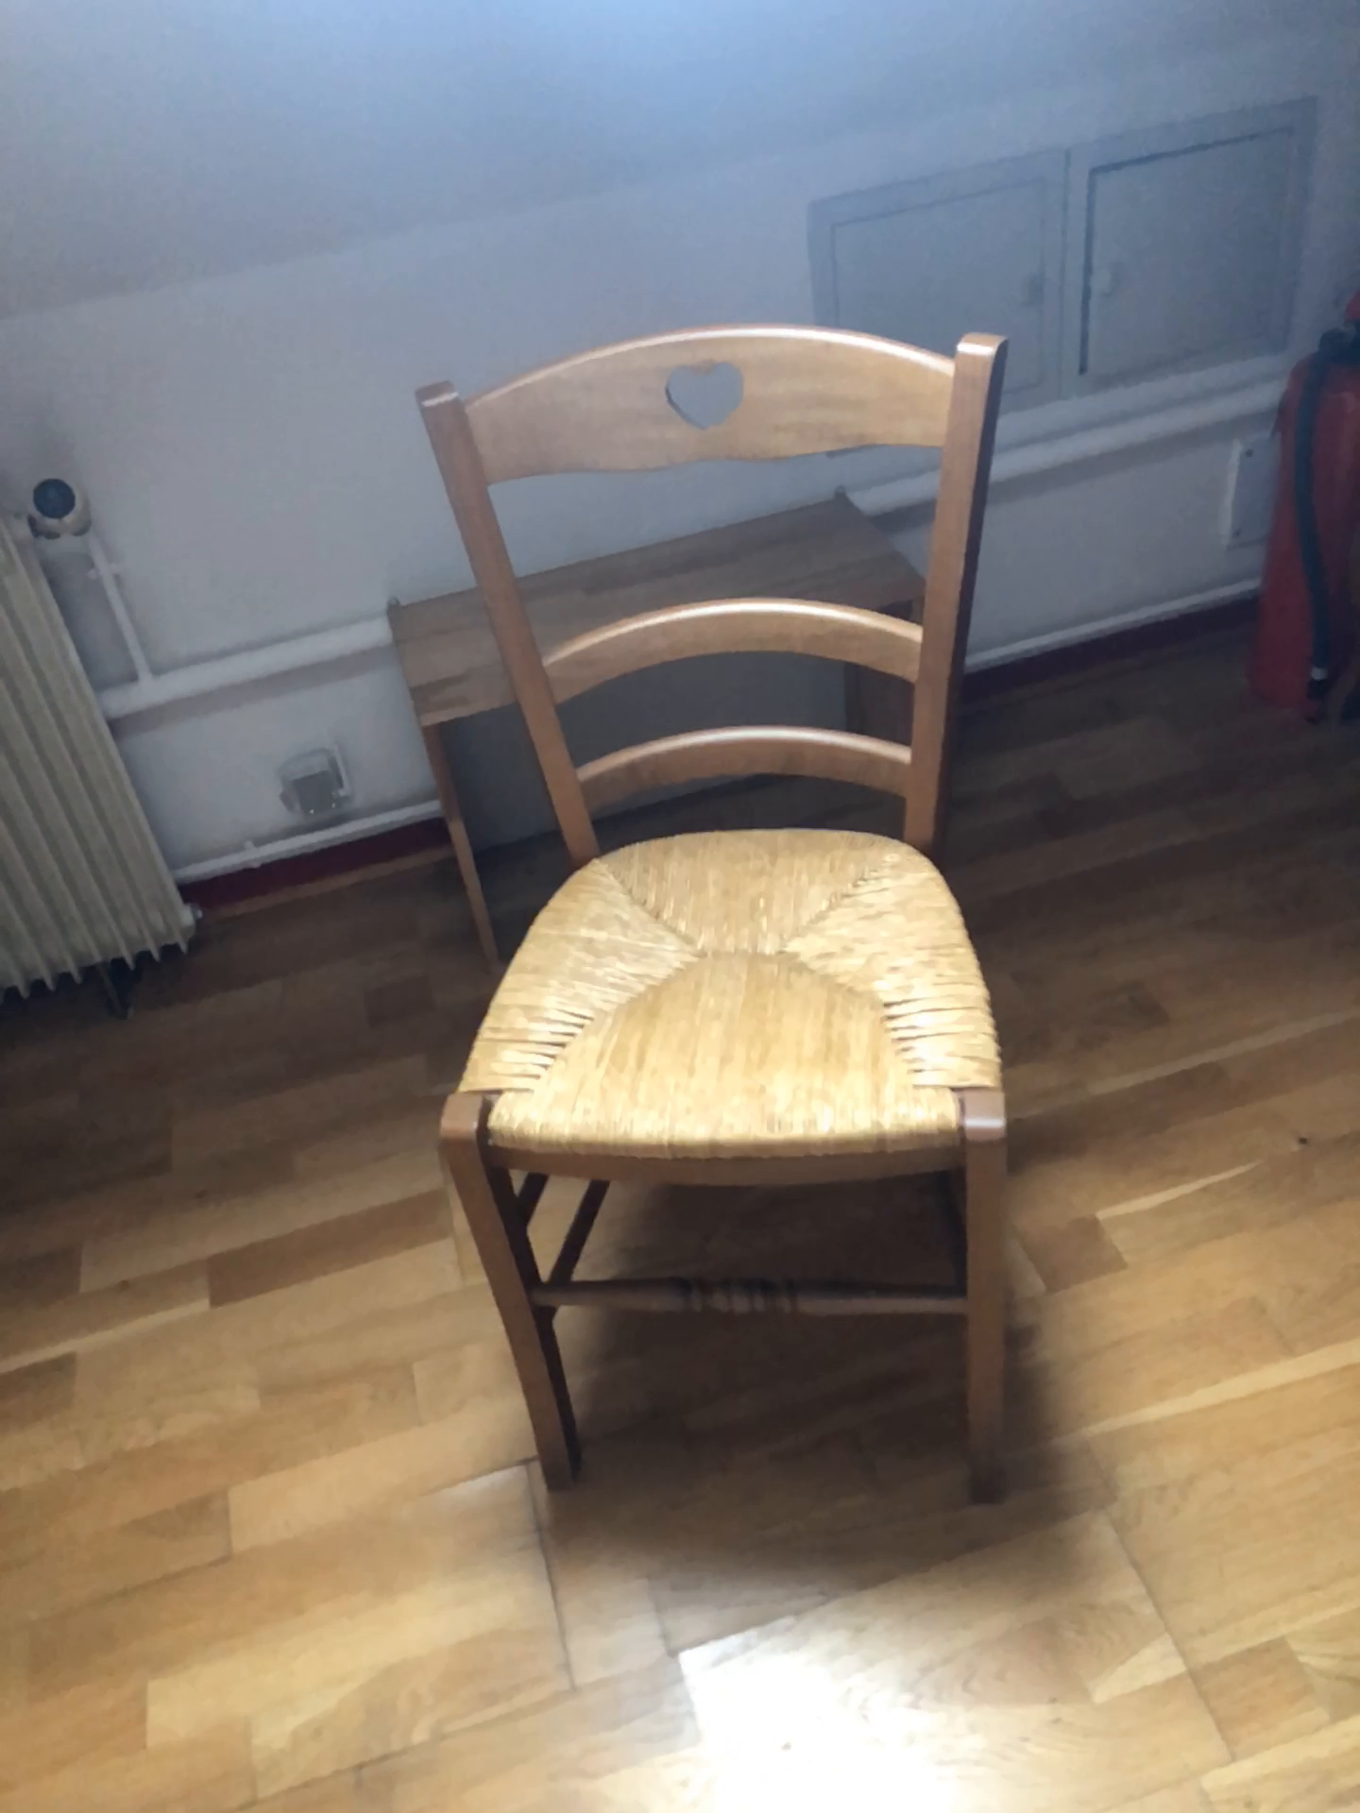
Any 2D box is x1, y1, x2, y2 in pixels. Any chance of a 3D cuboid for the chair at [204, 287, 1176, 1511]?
[{"bbox_3d":[0.059,0.035,1.101,0.458,0.793,0.436,-2,39,8],"label":"chair"}]
